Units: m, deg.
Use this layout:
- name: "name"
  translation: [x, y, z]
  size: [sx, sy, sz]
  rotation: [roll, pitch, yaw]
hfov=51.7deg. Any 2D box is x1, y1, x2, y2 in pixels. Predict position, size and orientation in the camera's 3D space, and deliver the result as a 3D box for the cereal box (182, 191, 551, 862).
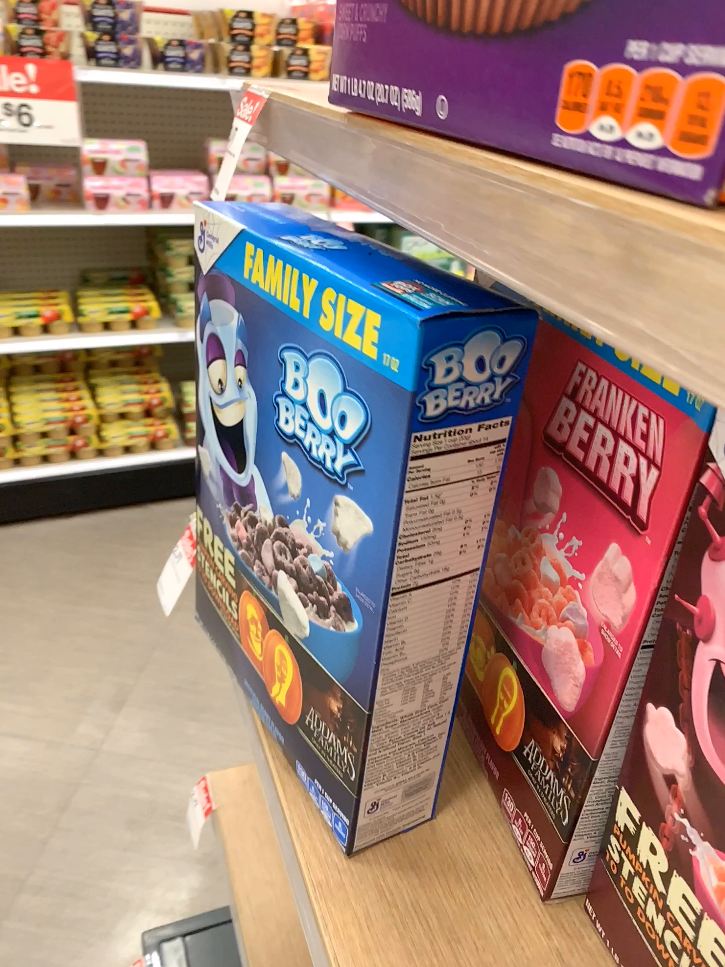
- name: "cereal box"
  translation: [-0.031, 0.013, 0.440]
  size: [0.060, 0.308, 0.241]
  rotation: [-12, 34, -31]
